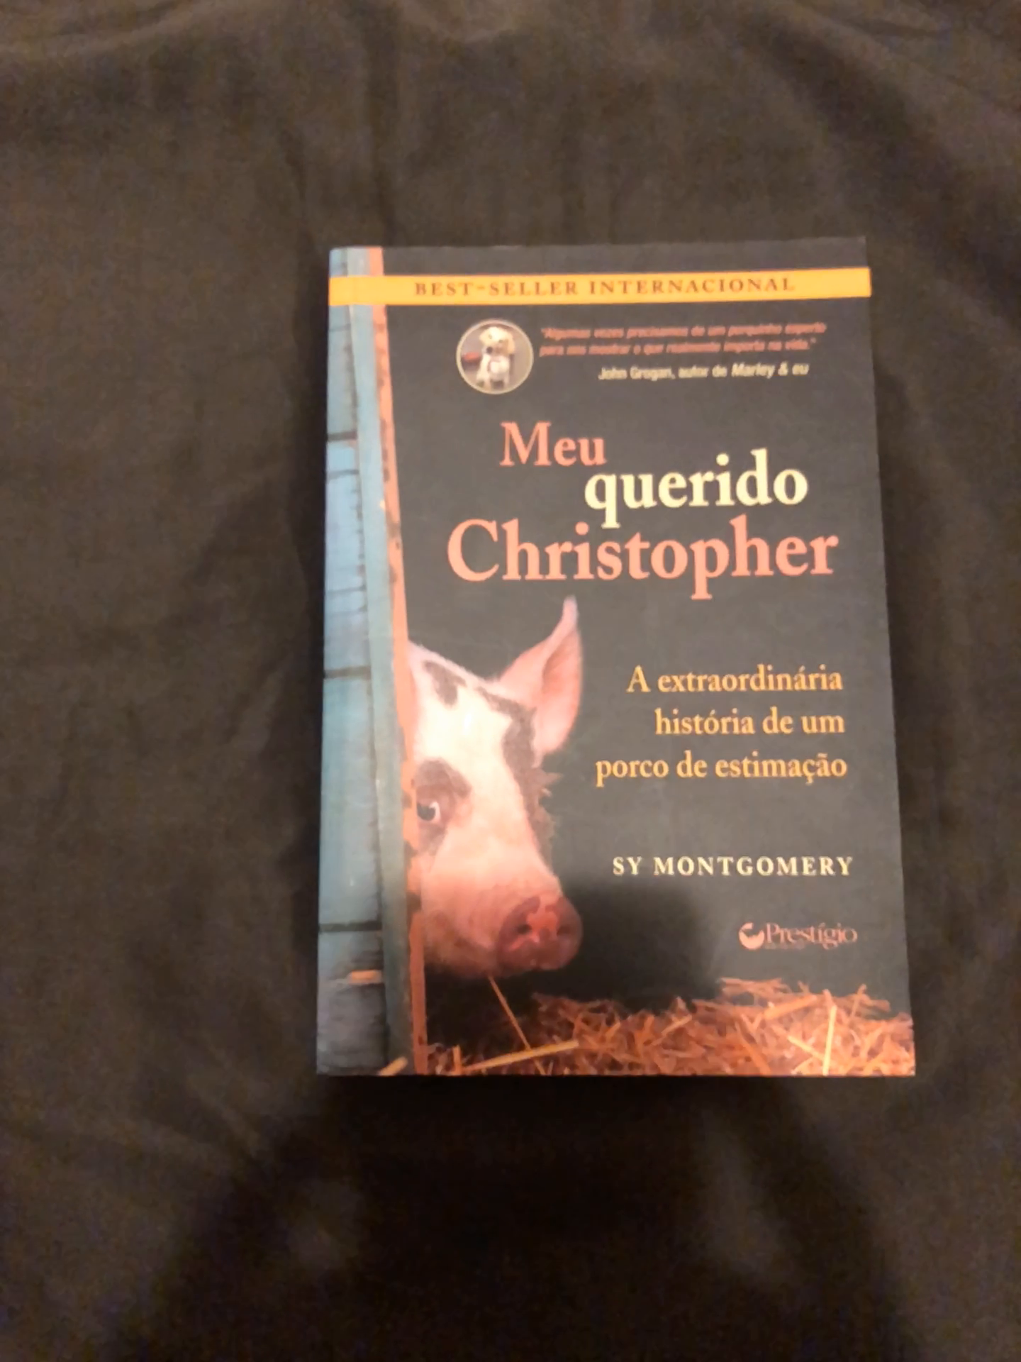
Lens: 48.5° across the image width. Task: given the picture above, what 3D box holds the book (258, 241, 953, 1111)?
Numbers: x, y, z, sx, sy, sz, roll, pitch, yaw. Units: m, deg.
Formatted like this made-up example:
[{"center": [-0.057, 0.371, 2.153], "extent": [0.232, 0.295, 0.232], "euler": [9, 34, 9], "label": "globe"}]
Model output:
[{"center": [0.021, -0.006, 0.301], "extent": [0.170, 0.020, 0.220], "euler": [-2, 83, -1], "label": "book"}]
